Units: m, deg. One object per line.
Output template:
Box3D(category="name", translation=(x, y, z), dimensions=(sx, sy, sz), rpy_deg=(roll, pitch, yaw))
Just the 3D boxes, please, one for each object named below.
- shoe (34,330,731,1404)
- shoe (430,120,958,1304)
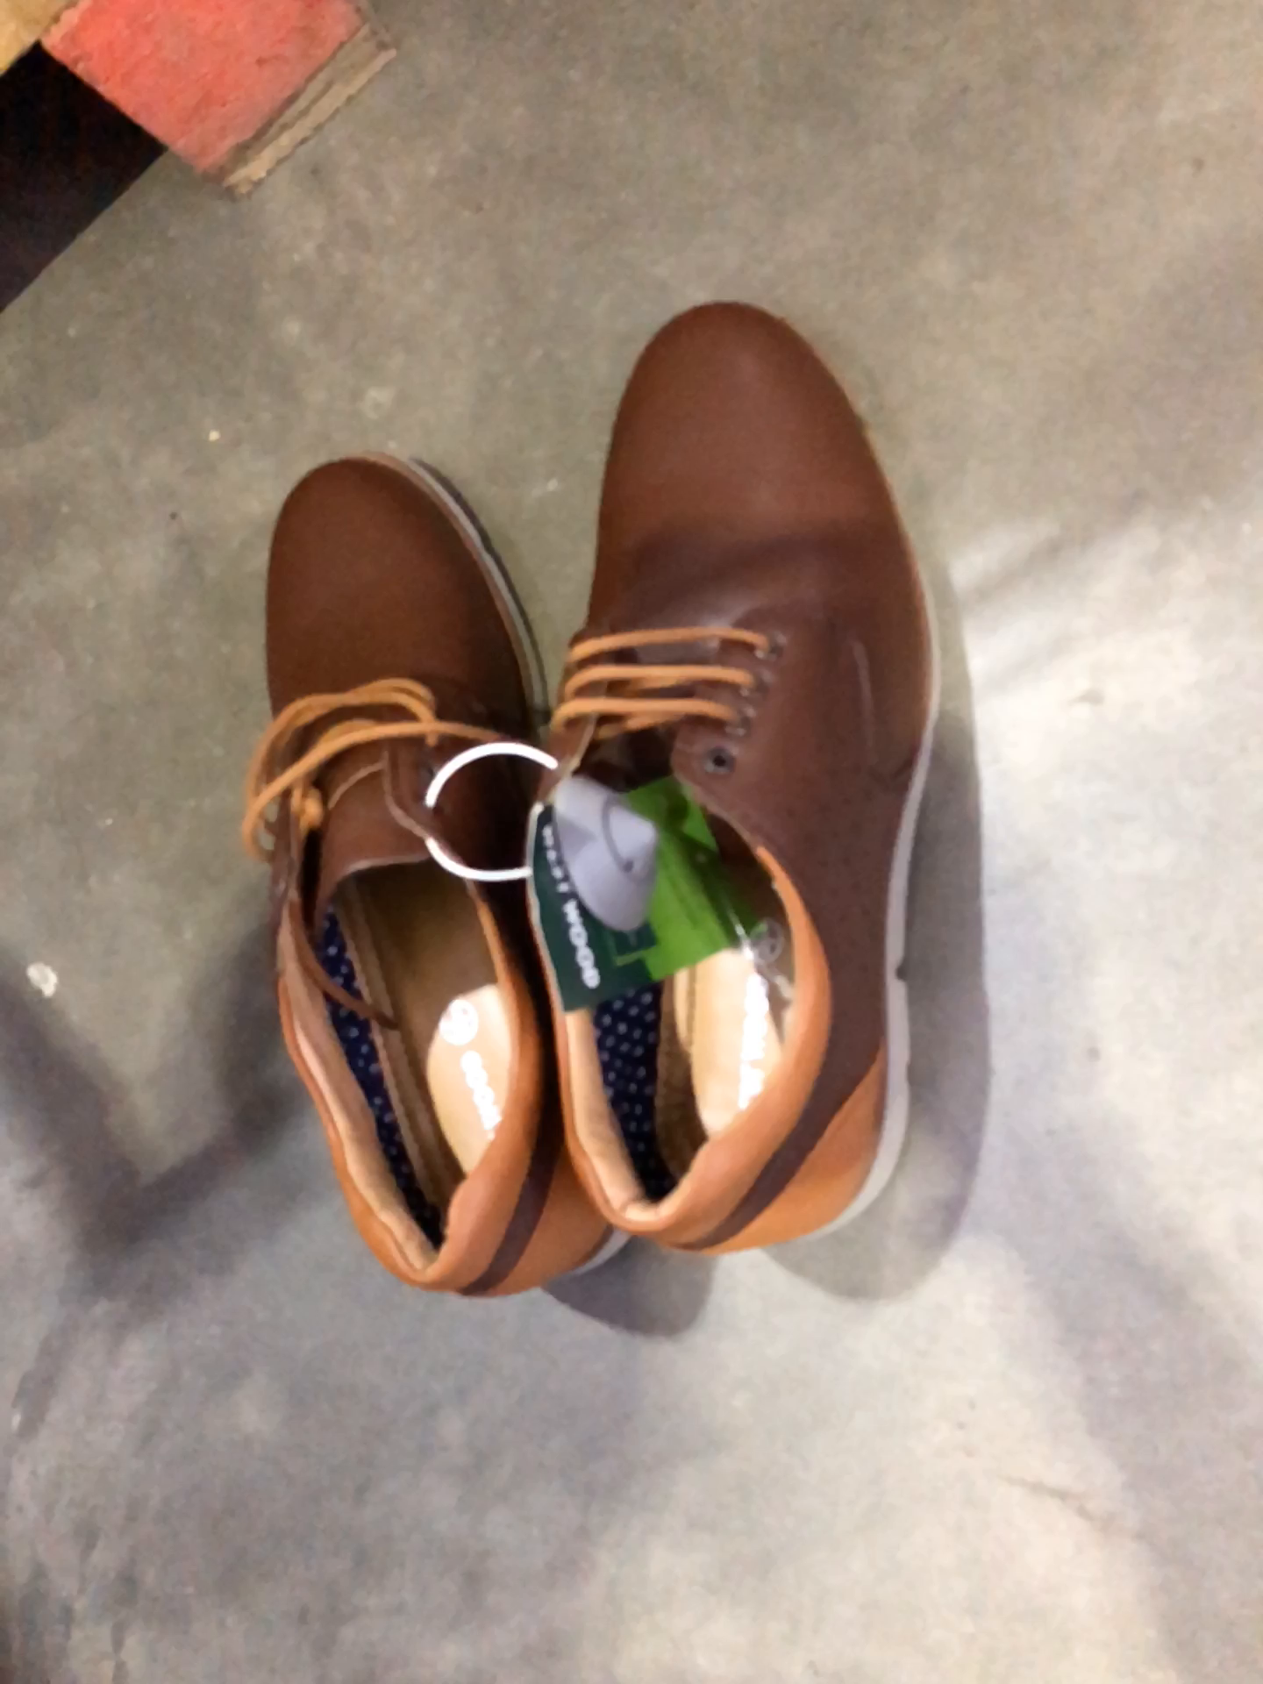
Box3D(category="shoe", translation=(-0.079, 0.008, 0.437), dimensions=(0.110, 0.120, 0.280), rpy_deg=(-22, 75, 20))
Box3D(category="shoe", translation=(0.026, -0.031, 0.436), dimensions=(0.120, 0.130, 0.310), rpy_deg=(-3, 82, 24))
